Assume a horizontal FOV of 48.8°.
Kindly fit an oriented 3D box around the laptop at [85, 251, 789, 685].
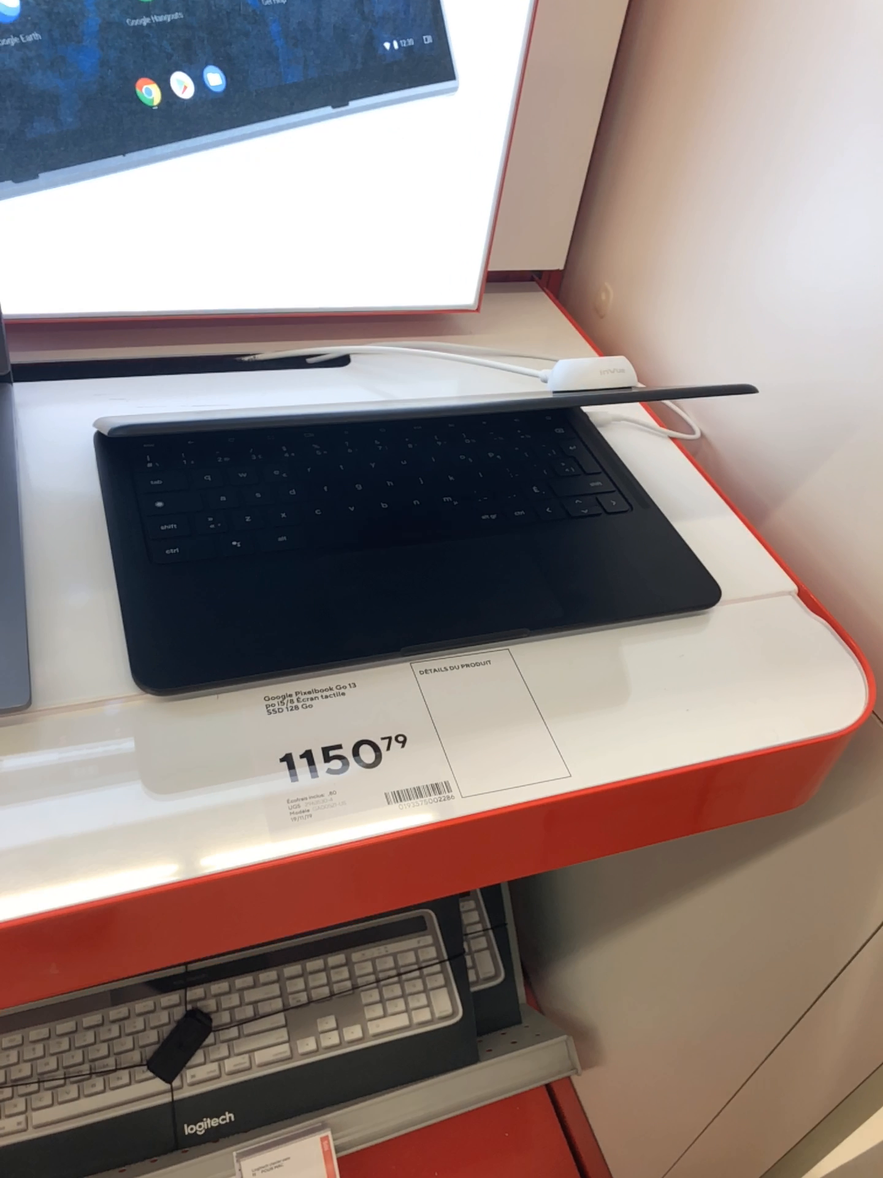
[{"bbox_3d":[-0.016,-0.082,0.509,0.298,0.106,0.199,-8,44,-20],"label":"laptop"}]
